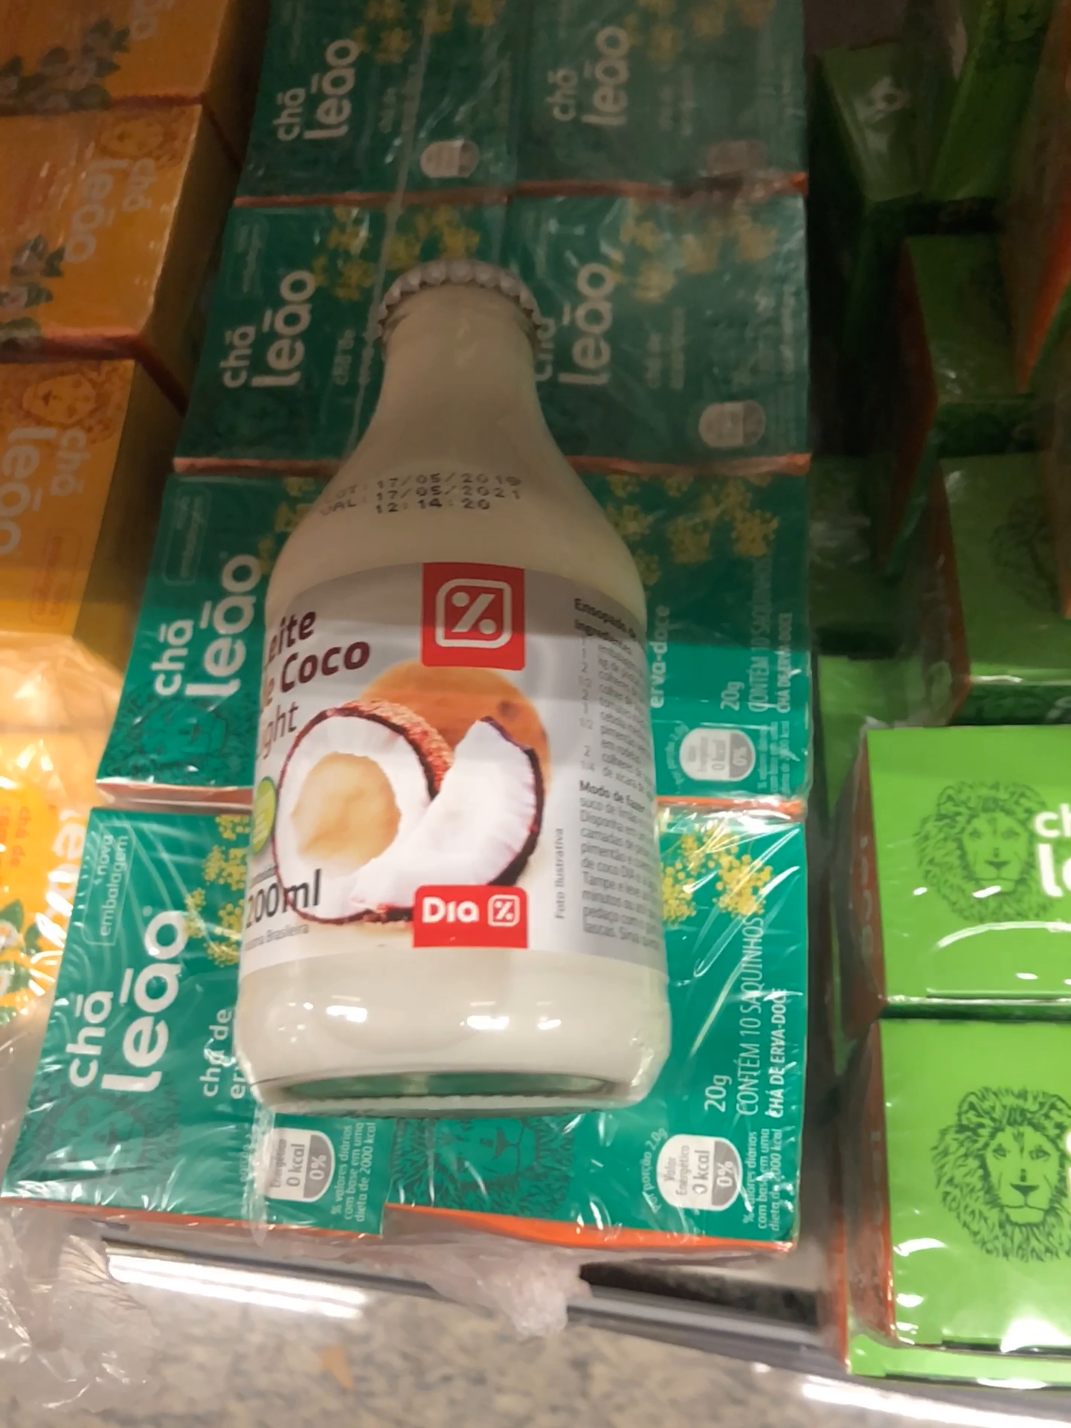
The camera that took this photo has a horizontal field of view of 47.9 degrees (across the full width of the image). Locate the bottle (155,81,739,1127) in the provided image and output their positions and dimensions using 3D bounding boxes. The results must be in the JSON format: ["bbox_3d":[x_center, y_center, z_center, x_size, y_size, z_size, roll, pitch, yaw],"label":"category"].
[{"bbox_3d":[-0.010,-0.020,0.196,0.070,0.050,0.160,-4,67,6],"label":"bottle"}]
